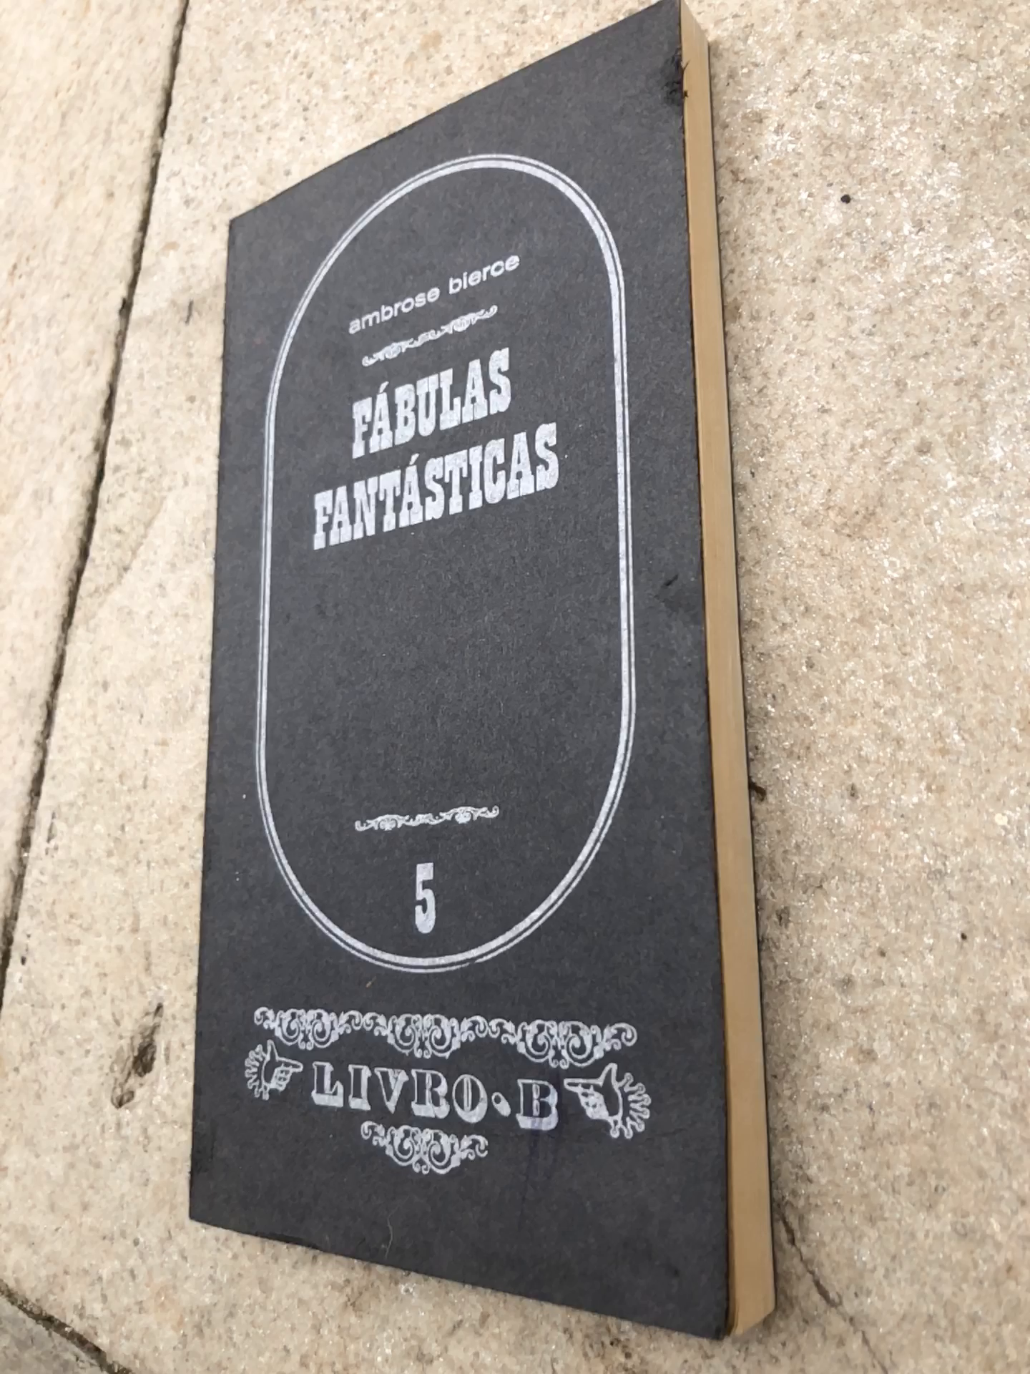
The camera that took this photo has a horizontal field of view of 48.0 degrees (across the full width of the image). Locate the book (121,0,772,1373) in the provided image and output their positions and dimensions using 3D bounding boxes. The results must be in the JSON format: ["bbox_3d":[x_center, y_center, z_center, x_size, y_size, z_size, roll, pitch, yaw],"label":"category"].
[{"bbox_3d":[-0.017,-0.004,0.177,0.104,0.013,0.176,-8,76,35],"label":"book"}]
